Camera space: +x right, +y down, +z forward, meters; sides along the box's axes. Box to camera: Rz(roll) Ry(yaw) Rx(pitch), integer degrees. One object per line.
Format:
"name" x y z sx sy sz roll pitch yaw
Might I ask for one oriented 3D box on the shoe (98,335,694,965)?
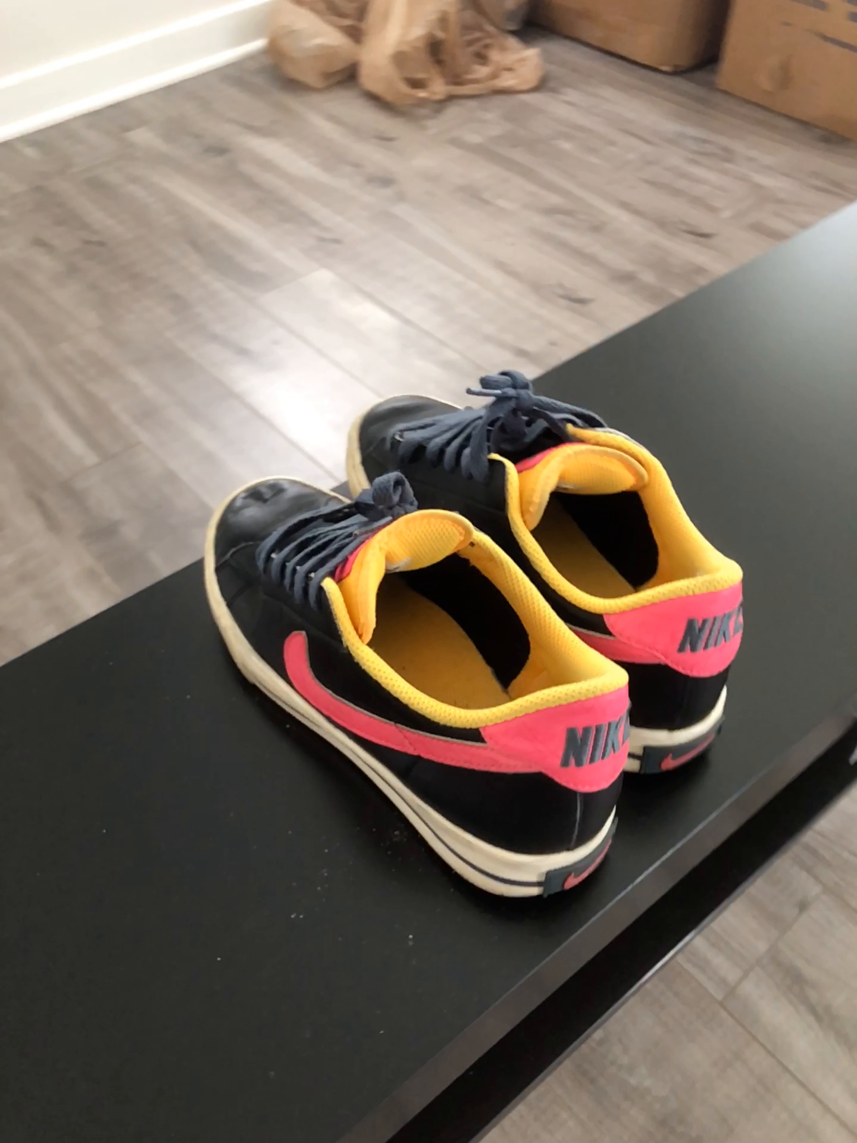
"shoe" -0.027 0.015 0.387 0.090 0.100 0.245 -29 53 -26

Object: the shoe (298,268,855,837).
"shoe" 0.044 -0.024 0.424 0.095 0.100 0.245 -24 52 -23
